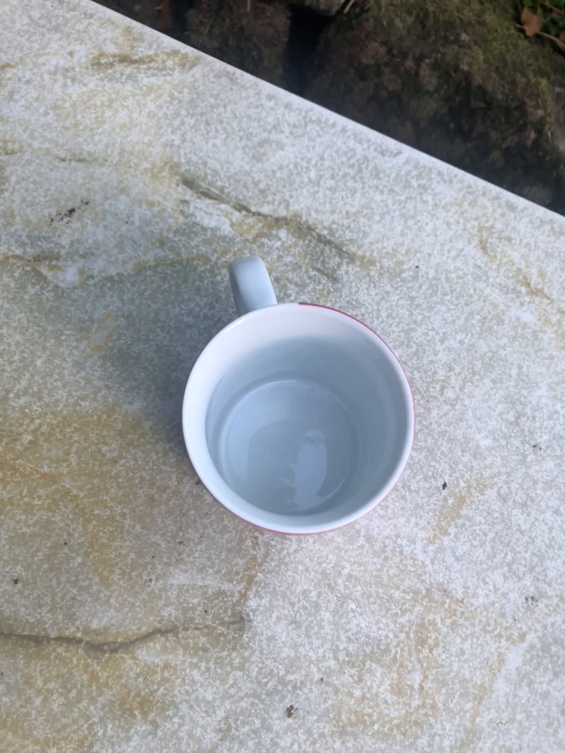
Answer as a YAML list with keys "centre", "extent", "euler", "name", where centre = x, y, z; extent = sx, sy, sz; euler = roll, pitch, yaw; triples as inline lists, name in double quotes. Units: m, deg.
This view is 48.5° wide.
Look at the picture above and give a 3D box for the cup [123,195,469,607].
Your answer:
- centre: [0.001, 0.012, 0.244]
  extent: [0.076, 0.089, 0.116]
  euler: [-19, 79, -6]
  name: "cup"
